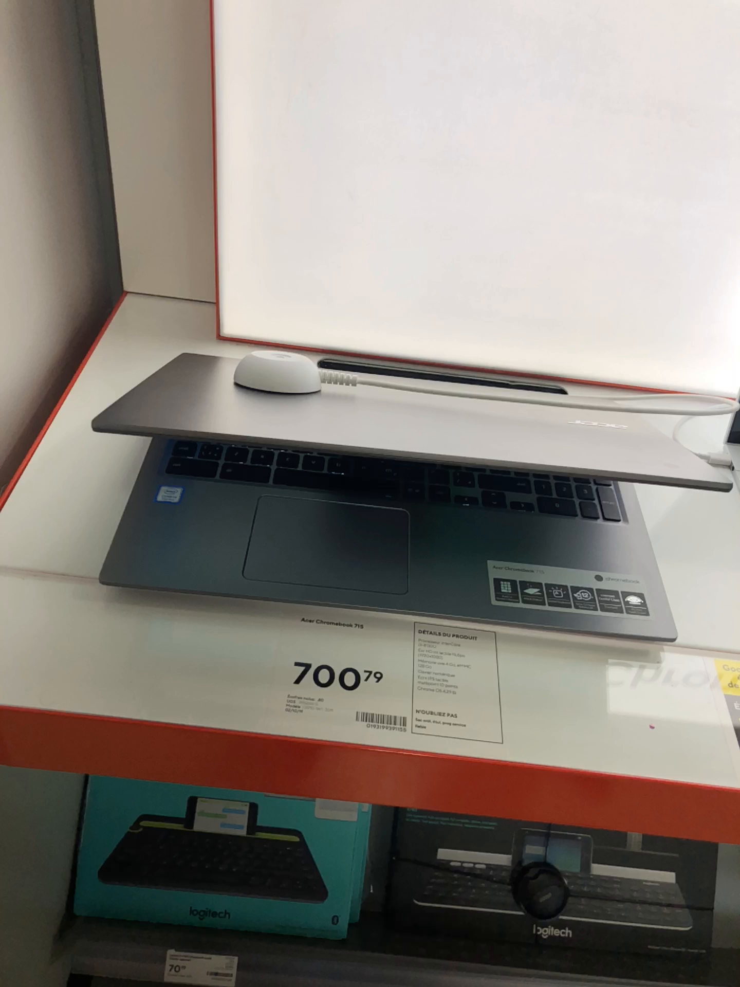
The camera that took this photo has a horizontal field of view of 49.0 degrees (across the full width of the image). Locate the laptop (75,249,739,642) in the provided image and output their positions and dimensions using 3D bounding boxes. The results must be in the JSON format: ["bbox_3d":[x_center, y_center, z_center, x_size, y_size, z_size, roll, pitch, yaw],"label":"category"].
[{"bbox_3d":[0.022,-0.044,0.554,0.356,0.105,0.237,6,41,-3],"label":"laptop"}]
